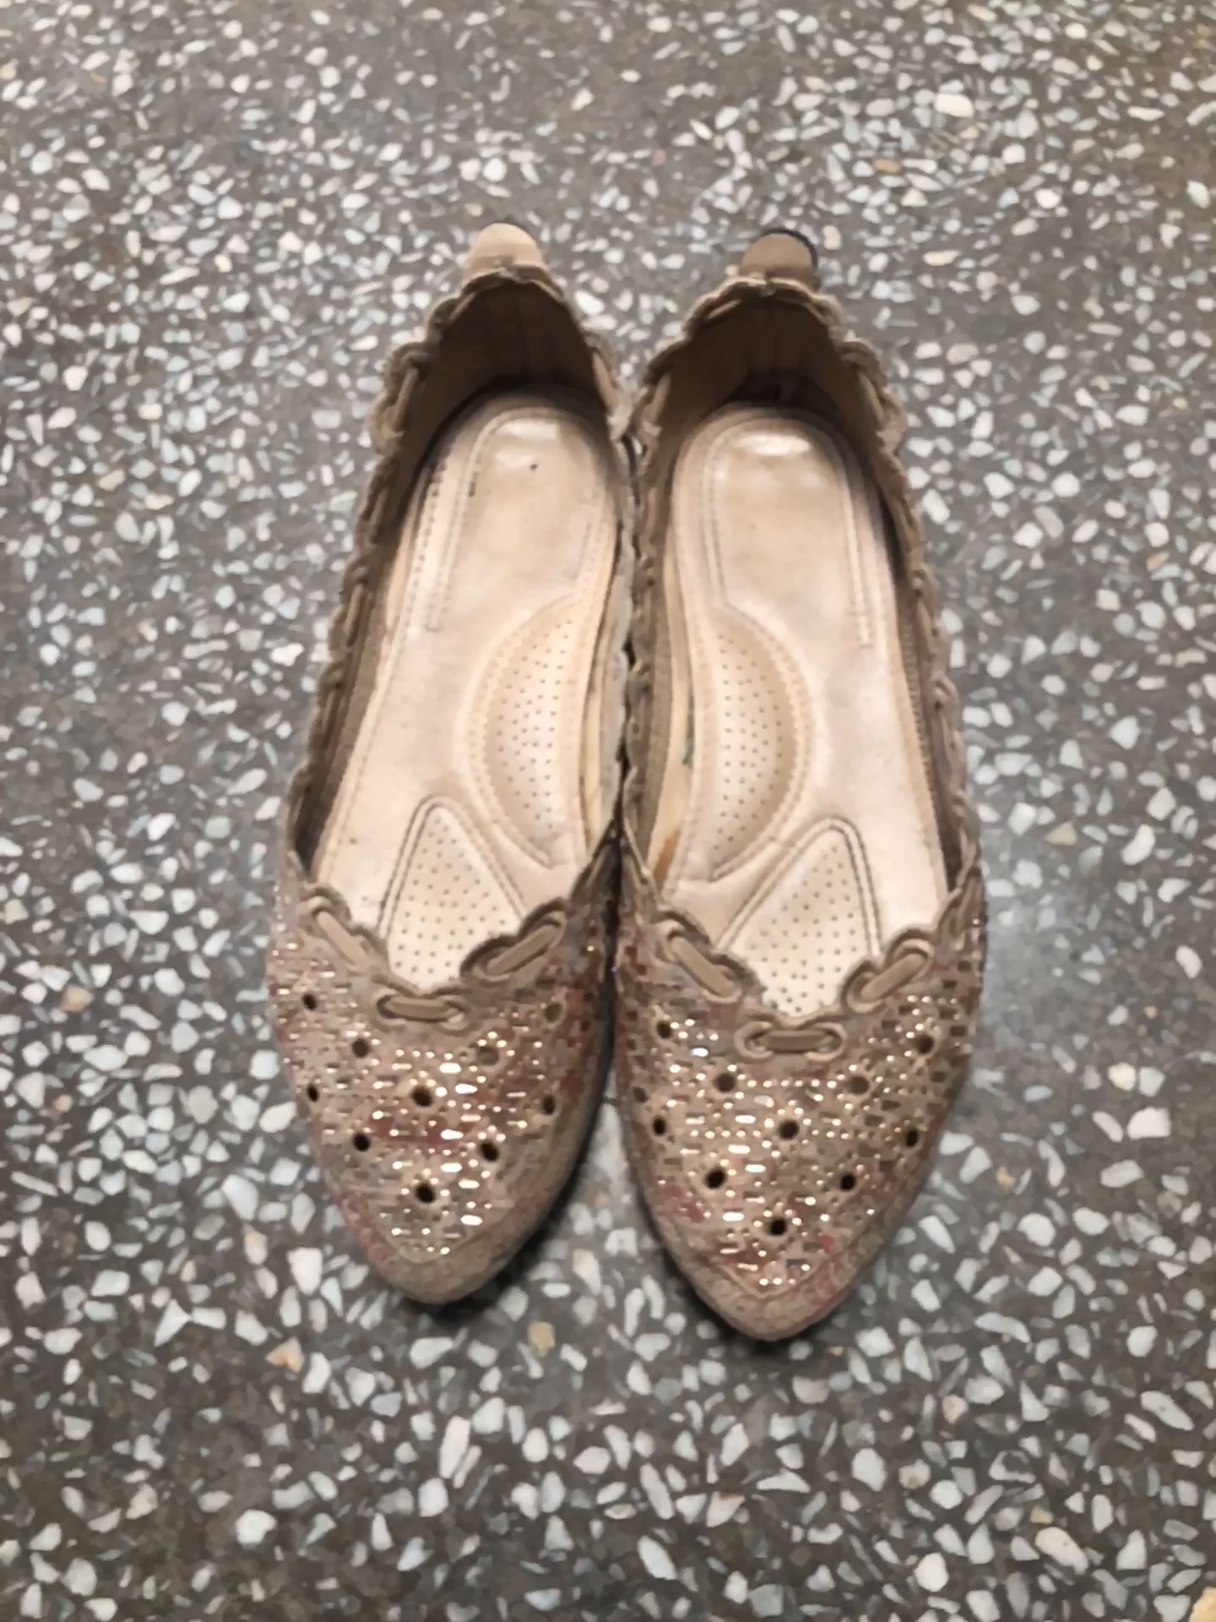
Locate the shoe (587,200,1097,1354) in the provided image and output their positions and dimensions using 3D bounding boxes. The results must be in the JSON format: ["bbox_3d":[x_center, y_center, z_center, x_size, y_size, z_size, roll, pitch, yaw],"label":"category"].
[{"bbox_3d":[0.043,-0.013,0.316,0.089,0.068,0.255,0,70,2],"label":"shoe"}]

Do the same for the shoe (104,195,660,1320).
[{"bbox_3d":[-0.039,-0.019,0.324,0.089,0.068,0.254,3,71,3],"label":"shoe"}]
